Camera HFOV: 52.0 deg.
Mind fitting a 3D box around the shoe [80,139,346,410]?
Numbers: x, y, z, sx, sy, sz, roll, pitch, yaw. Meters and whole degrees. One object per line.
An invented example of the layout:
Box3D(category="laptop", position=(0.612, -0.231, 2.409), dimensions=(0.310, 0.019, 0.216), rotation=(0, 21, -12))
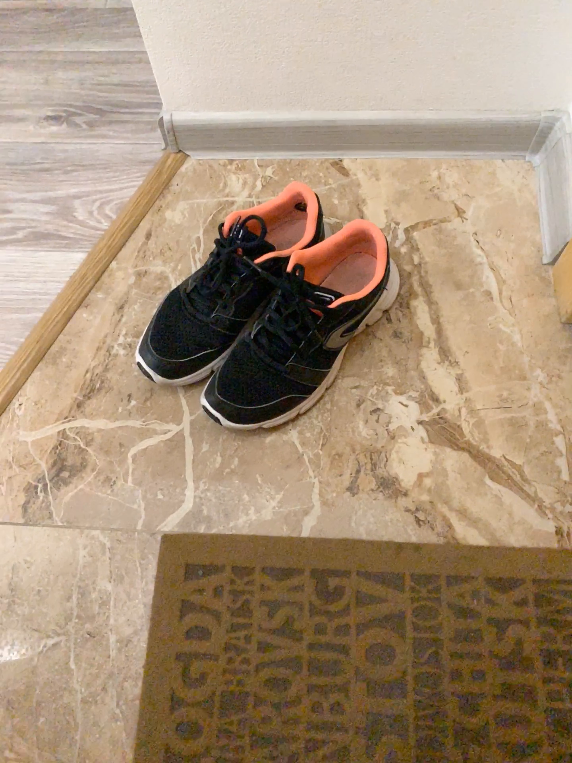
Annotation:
Box3D(category="shoe", position=(-0.062, -0.108, 0.591), dimensions=(0.100, 0.100, 0.250), rotation=(40, 75, 17))

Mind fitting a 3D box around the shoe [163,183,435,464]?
Box3D(category="shoe", position=(0.017, -0.055, 0.561), dimensions=(0.100, 0.100, 0.244), rotation=(40, 75, 17))
